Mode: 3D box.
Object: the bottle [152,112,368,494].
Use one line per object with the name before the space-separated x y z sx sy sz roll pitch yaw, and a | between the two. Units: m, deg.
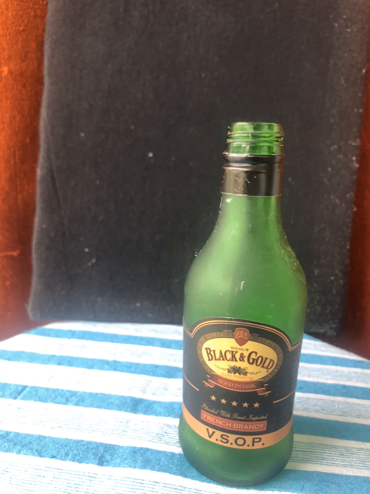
bottle | 0.026 0.020 0.179 0.060 0.140 0.060 5 13 -1
